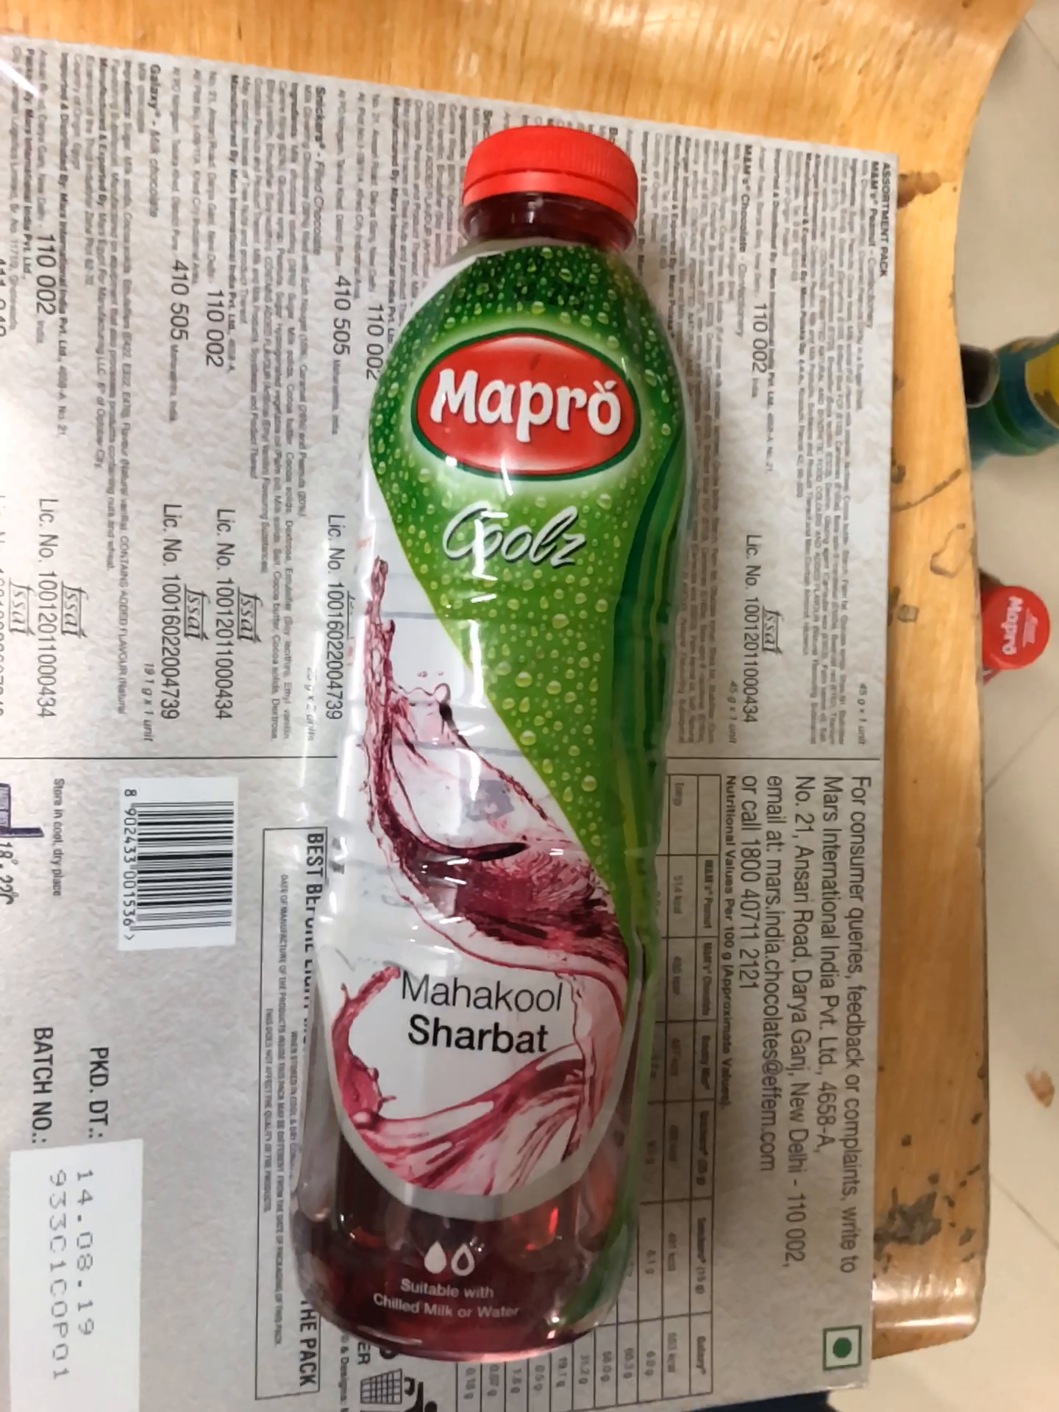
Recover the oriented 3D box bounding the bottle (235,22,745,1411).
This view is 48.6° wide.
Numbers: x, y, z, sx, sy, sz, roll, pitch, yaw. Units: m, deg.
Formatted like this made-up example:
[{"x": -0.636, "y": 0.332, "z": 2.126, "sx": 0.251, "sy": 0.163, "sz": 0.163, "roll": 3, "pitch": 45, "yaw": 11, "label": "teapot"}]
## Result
[{"x": -0.009, "y": 0.005, "z": 0.268, "sx": 0.080, "sy": 0.060, "sz": 0.280, "roll": 5, "pitch": 91, "yaw": -1, "label": "bottle"}]
